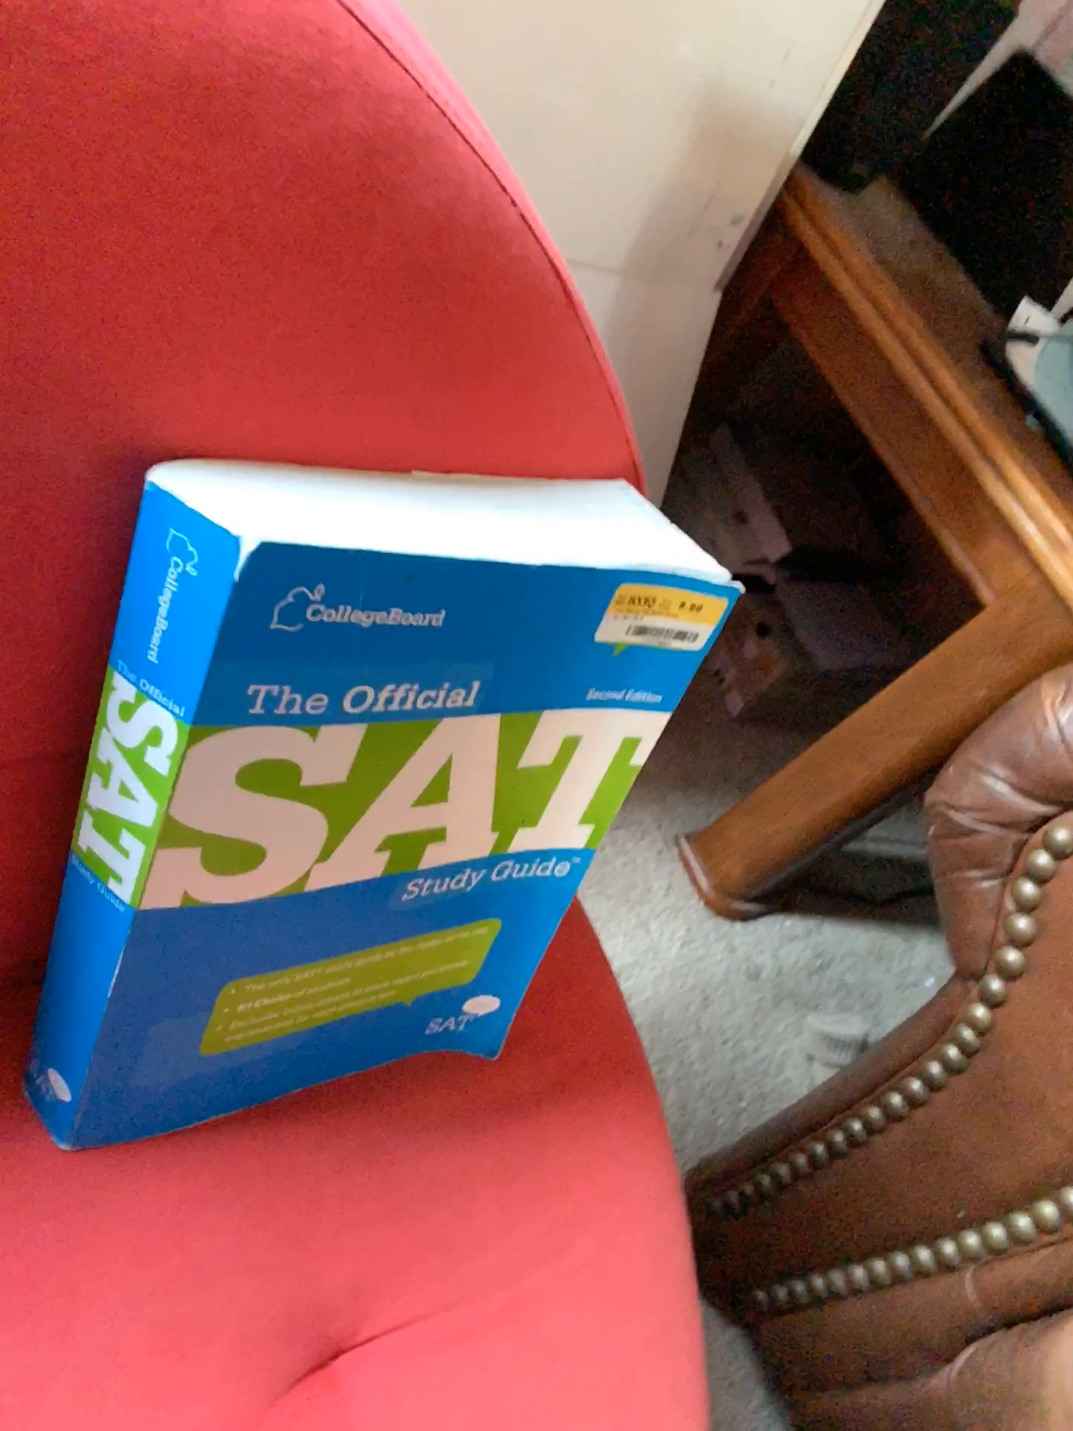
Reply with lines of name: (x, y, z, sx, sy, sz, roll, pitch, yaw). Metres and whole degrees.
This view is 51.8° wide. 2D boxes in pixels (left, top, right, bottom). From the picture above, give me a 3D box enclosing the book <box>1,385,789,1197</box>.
book: (-0.059, 0.032, 0.422, 0.231, 0.259, 0.080, -2, 33, -38)
